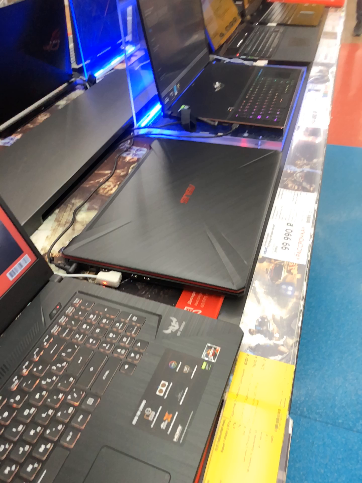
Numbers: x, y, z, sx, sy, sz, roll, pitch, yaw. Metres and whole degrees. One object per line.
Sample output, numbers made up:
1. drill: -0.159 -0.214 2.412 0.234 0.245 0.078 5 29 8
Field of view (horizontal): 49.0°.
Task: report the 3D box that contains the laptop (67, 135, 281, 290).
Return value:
1. laptop: 0.015 -0.083 0.690 0.252 0.002 0.390 11 43 16
